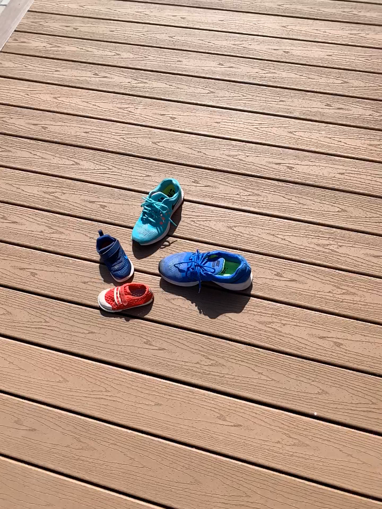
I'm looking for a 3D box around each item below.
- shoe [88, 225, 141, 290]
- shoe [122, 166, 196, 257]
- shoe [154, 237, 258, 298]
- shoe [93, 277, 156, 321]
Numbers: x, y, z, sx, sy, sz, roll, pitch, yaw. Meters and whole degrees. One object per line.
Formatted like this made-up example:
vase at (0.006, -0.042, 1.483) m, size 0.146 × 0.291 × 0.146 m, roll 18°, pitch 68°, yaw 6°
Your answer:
shoe at (-0.239, 0.007, 1.219) m, size 0.090 × 0.070 × 0.170 m, roll -28°, pitch 65°, yaw -10°
shoe at (-0.098, -0.144, 1.286) m, size 0.120 × 0.090 × 0.270 m, roll 23°, pitch 67°, yaw 14°
shoe at (0.048, 0.040, 1.186) m, size 0.290 × 0.090 × 0.120 m, roll 7°, pitch 64°, yaw 7°
shoe at (-0.198, 0.133, 1.169) m, size 0.170 × 0.060 × 0.080 m, roll -12°, pitch 64°, yaw -3°
